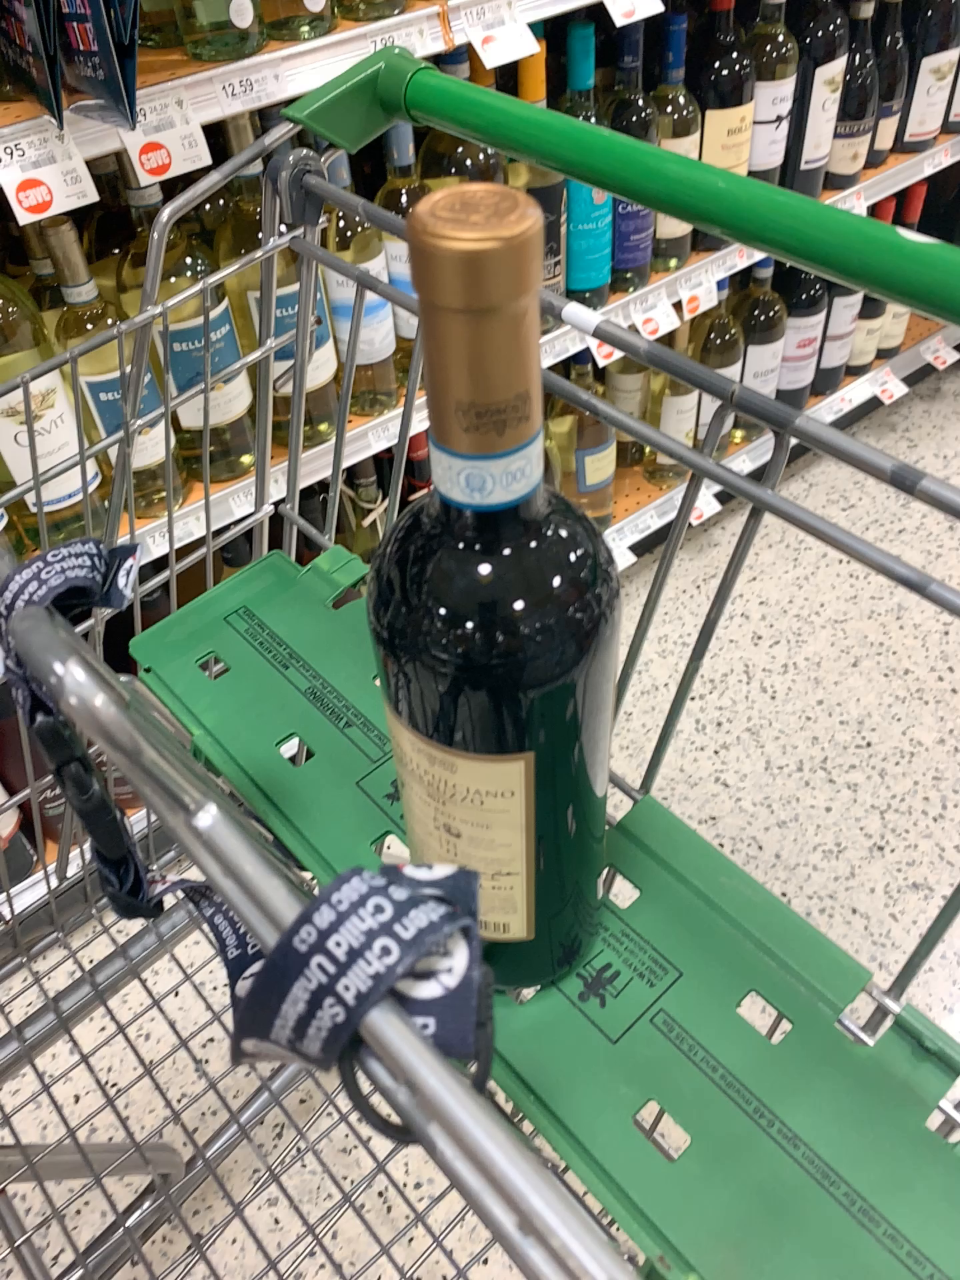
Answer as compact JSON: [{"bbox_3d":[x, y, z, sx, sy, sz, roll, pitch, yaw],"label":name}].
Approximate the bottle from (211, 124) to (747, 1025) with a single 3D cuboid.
[{"bbox_3d":[0.008,0.008,0.305,0.080,0.277,0.081,-2,47,2],"label":"bottle"}]
